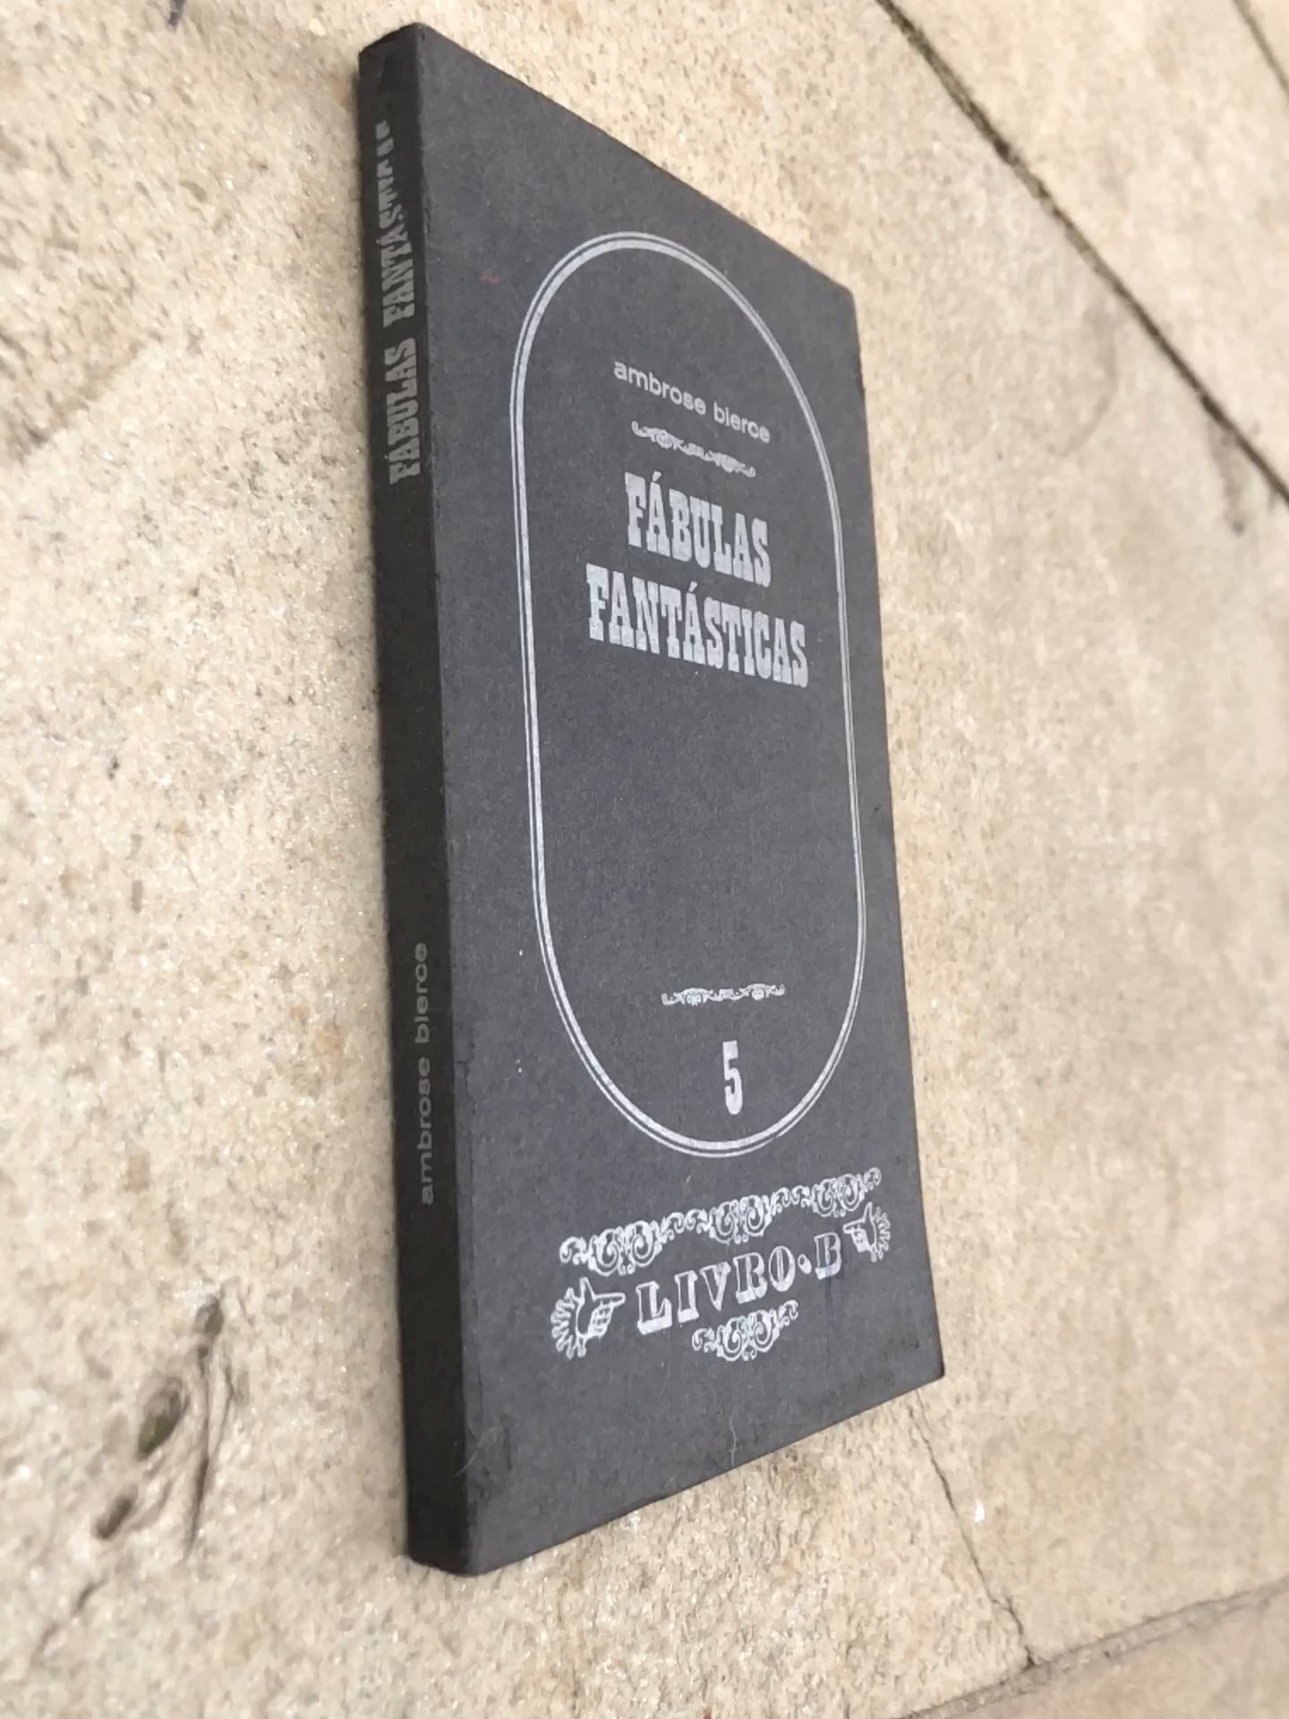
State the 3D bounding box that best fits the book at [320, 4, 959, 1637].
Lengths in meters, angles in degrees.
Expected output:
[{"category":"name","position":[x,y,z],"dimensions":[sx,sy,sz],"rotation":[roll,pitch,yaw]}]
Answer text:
[{"category":"book","position":[0.005,-0.006,0.198],"dimensions":[0.105,0.013,0.176],"rotation":[4,81,-49]}]
